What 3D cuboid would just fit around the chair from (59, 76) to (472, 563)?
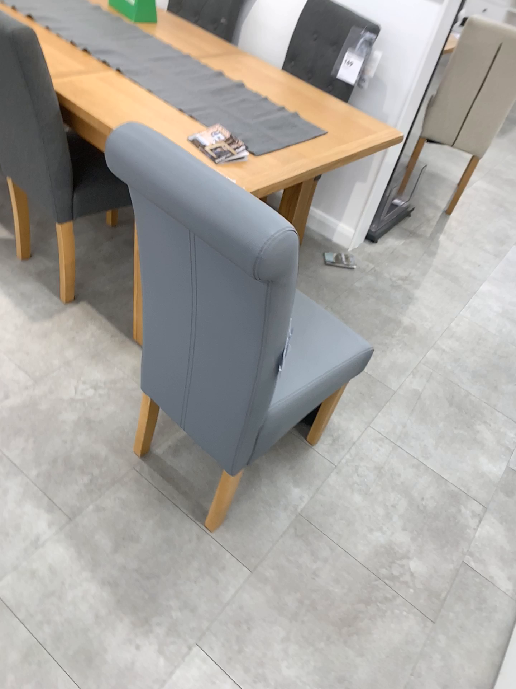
[{"bbox_3d":[-0.030,-0.055,1.294,0.474,0.906,0.658,38,48,22],"label":"chair"}]
